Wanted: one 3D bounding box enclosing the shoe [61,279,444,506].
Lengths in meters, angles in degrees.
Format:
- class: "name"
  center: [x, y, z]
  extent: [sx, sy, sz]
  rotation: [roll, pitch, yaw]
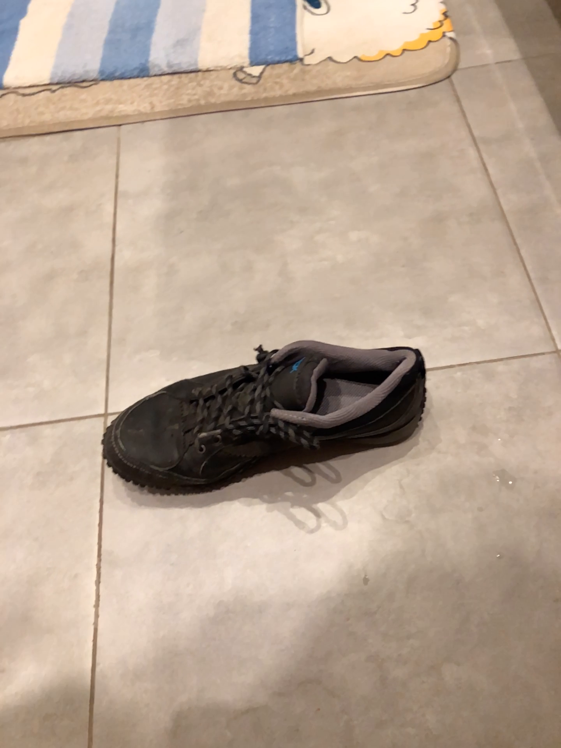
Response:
- class: "shoe"
  center: [-0.021, 0.020, 0.500]
  extent: [0.270, 0.109, 0.101]
  rotation: [-10, 59, 1]
